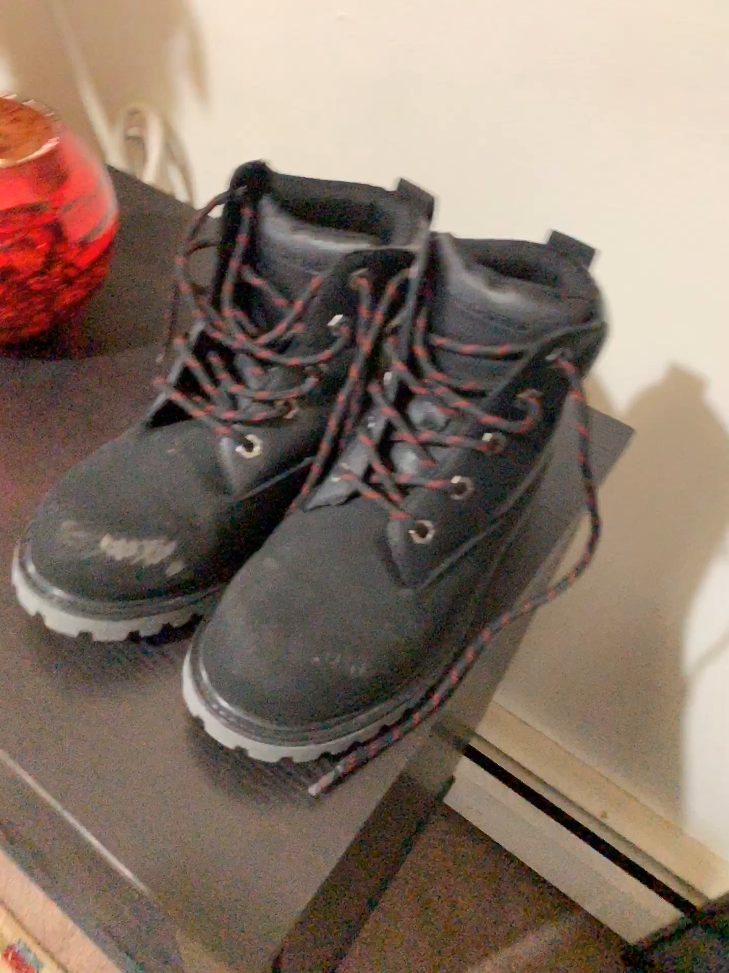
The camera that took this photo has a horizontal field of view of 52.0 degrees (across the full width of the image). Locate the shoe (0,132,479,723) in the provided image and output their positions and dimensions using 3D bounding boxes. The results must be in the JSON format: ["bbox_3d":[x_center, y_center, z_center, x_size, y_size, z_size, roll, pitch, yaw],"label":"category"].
[{"bbox_3d":[-0.062,-0.038,0.345,0.100,0.158,0.222,31,49,19],"label":"shoe"}]

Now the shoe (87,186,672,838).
[{"bbox_3d":[0.017,-0.003,0.327,0.100,0.158,0.232,31,49,19],"label":"shoe"}]
